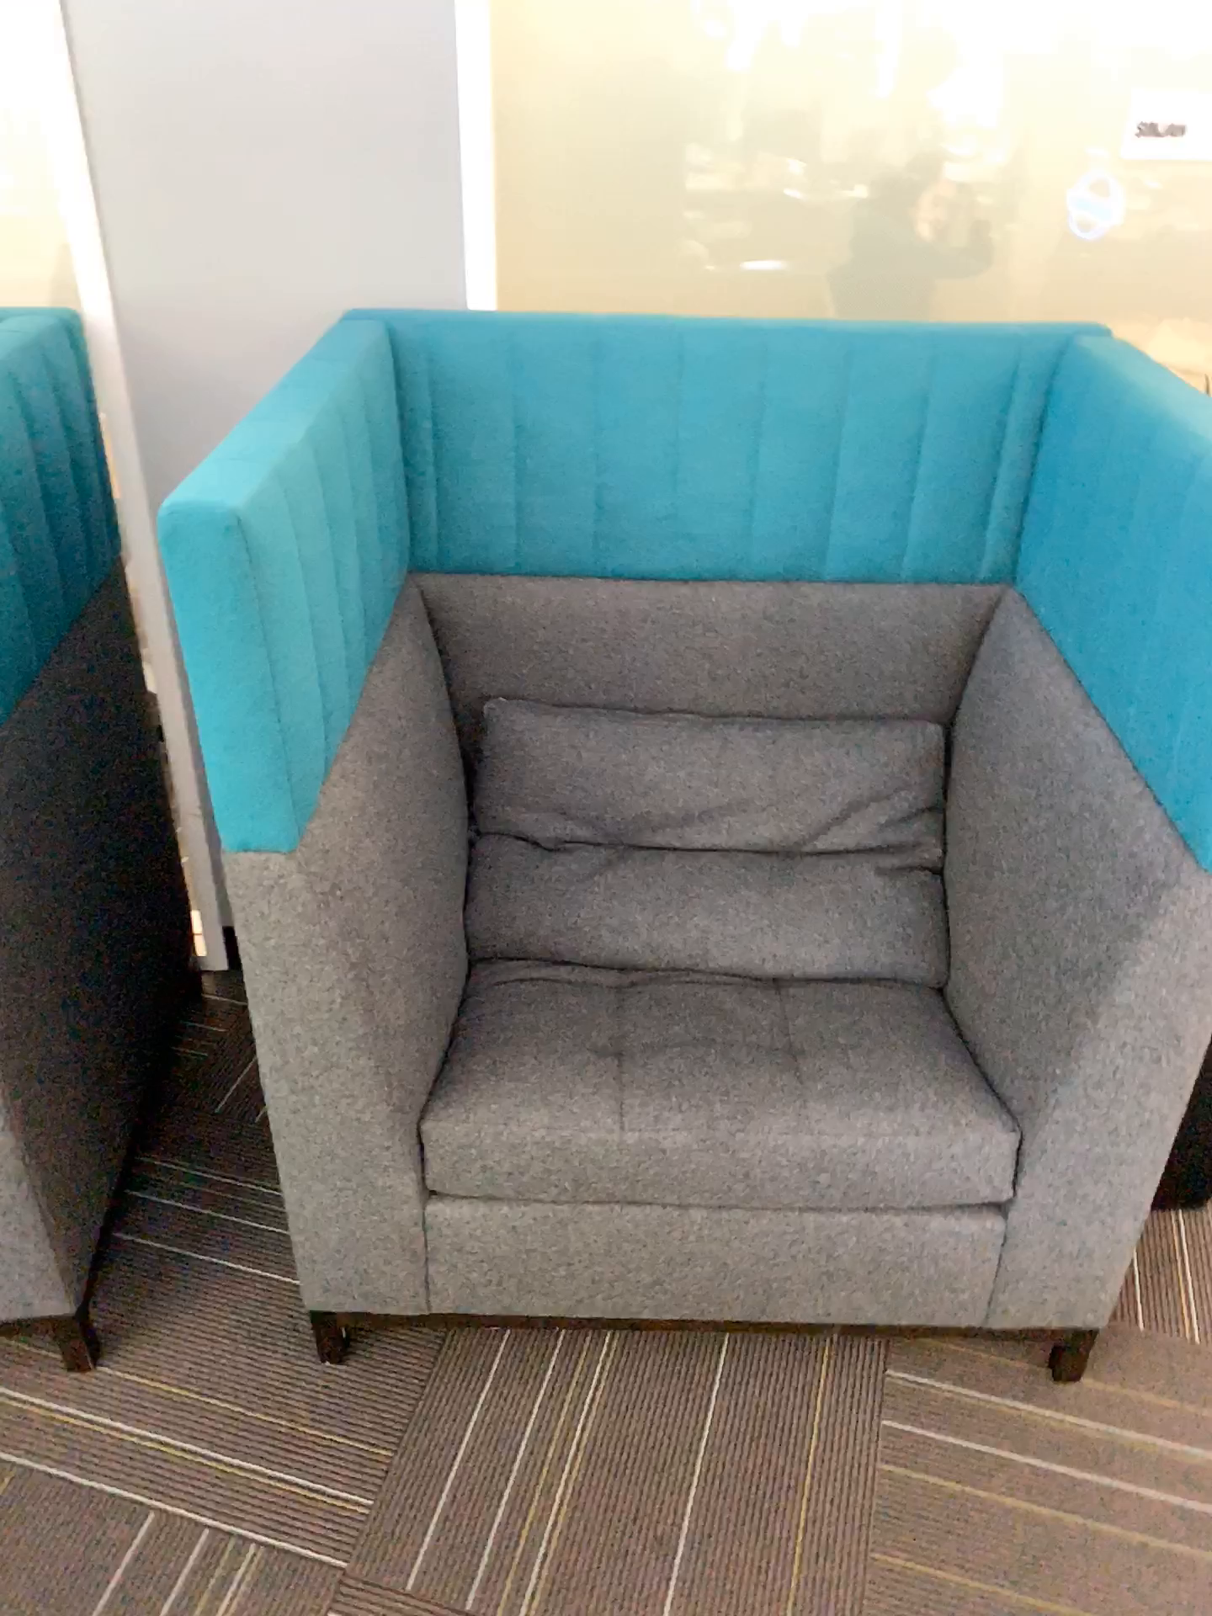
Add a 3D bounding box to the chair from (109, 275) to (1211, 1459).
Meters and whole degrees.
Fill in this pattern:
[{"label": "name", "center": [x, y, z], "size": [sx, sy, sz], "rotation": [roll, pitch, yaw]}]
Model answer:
[{"label": "chair", "center": [0.146, 0.032, 1.670], "size": [1.050, 1.213, 1.016], "rotation": [1, 33, 0]}]
